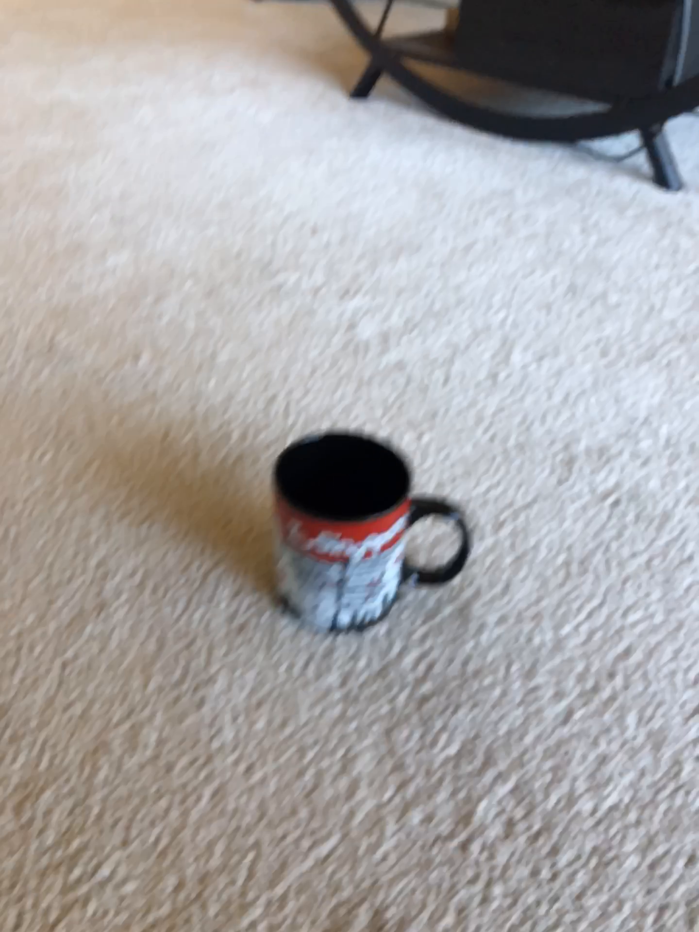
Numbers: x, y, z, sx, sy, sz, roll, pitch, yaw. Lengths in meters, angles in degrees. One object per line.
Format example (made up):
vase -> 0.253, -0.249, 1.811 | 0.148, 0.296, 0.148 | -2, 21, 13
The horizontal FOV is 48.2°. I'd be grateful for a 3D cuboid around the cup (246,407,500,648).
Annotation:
cup -> 0.016, 0.034, 0.460 | 0.130, 0.090, 0.090 | 6, 39, 5
